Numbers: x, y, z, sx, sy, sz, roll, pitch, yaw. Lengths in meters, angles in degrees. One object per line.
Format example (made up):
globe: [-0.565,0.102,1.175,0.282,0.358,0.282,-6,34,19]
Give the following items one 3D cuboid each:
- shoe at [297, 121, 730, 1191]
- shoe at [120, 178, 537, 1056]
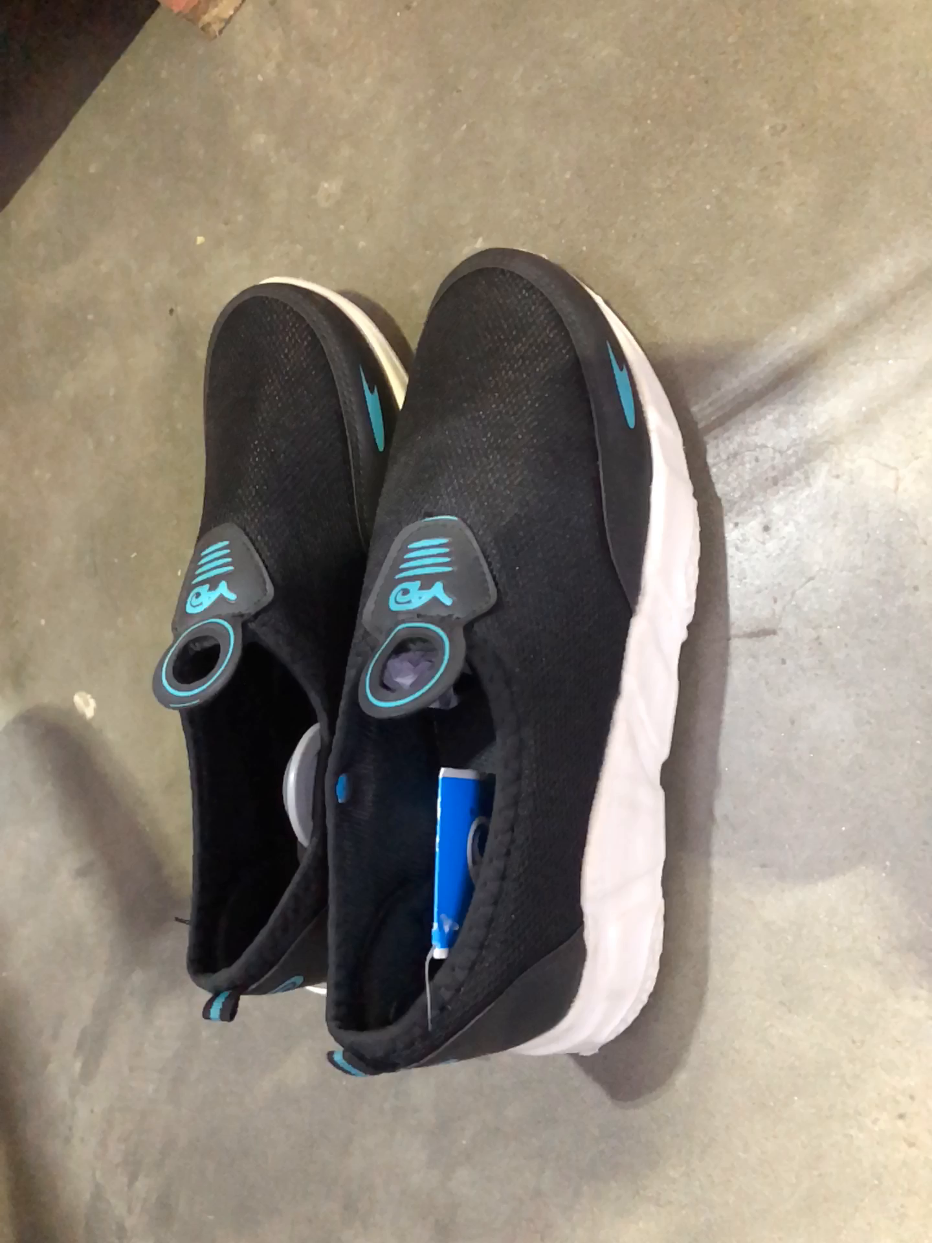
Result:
shoe: [0.020,0.008,0.359,0.110,0.100,0.300,-3,83,31]
shoe: [-0.058,0.001,0.416,0.110,0.100,0.300,-10,79,30]
